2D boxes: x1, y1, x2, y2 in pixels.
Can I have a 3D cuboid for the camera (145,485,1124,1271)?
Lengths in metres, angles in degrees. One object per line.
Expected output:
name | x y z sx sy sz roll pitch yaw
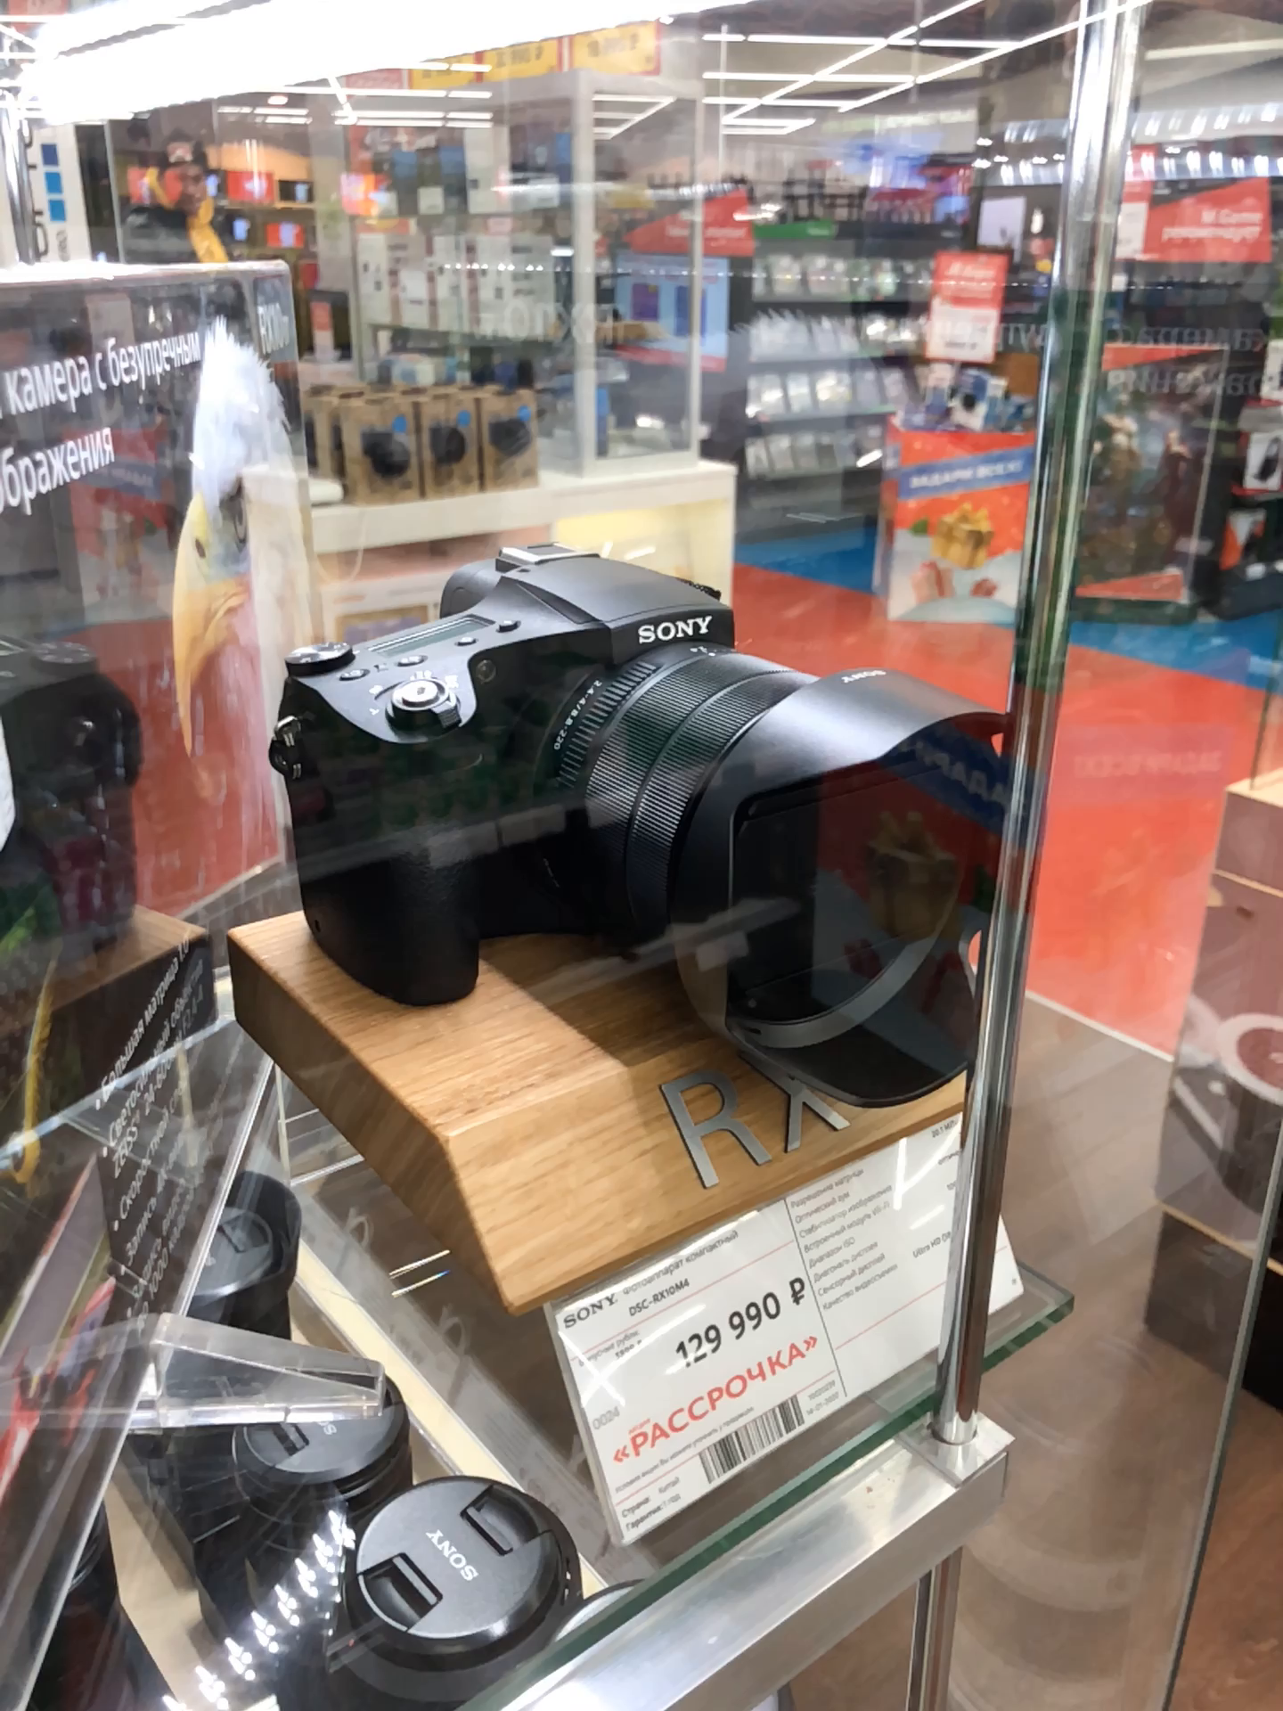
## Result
camera | -0.011 -0.017 0.323 0.126 0.099 0.178 -17 29 -36
